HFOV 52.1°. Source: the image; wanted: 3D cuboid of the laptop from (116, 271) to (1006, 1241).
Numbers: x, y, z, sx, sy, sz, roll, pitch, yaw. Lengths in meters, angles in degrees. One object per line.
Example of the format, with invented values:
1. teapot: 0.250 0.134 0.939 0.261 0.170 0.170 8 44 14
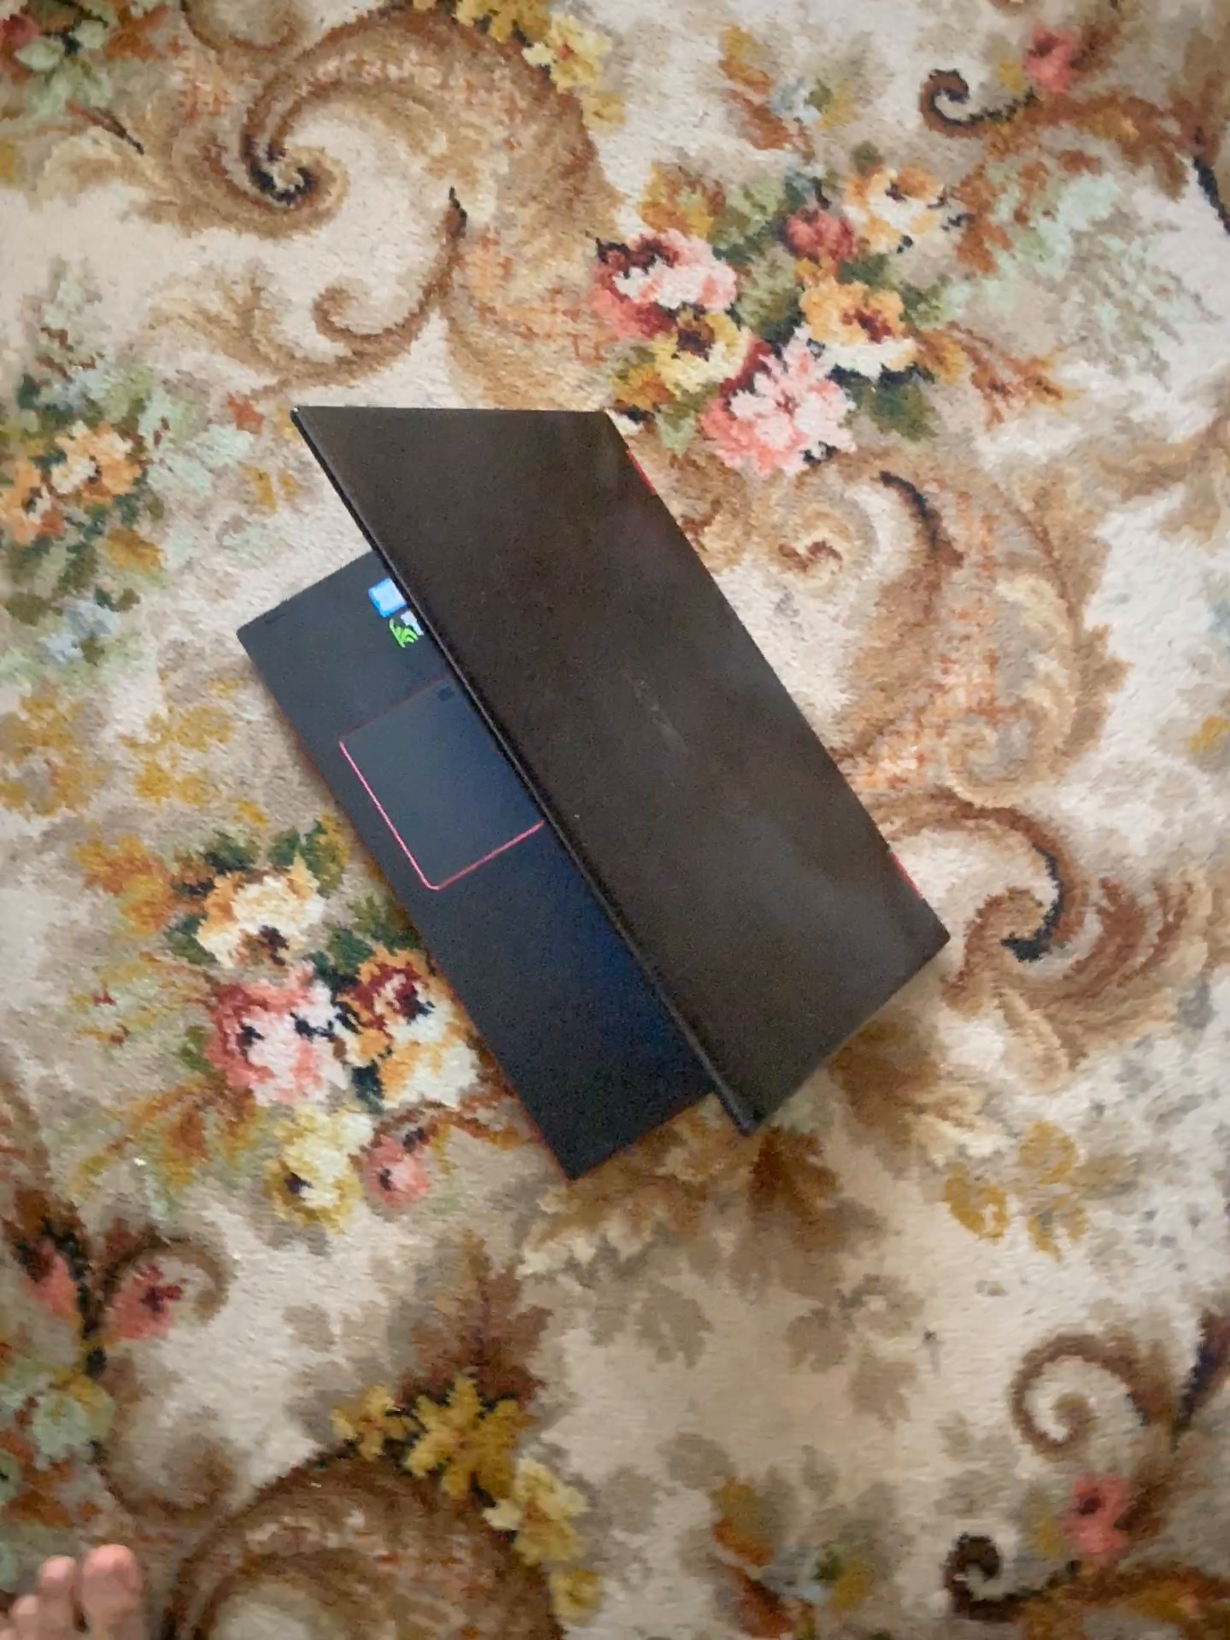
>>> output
1. laptop: -0.028 -0.025 0.622 0.224 0.173 0.356 -32 84 -2
